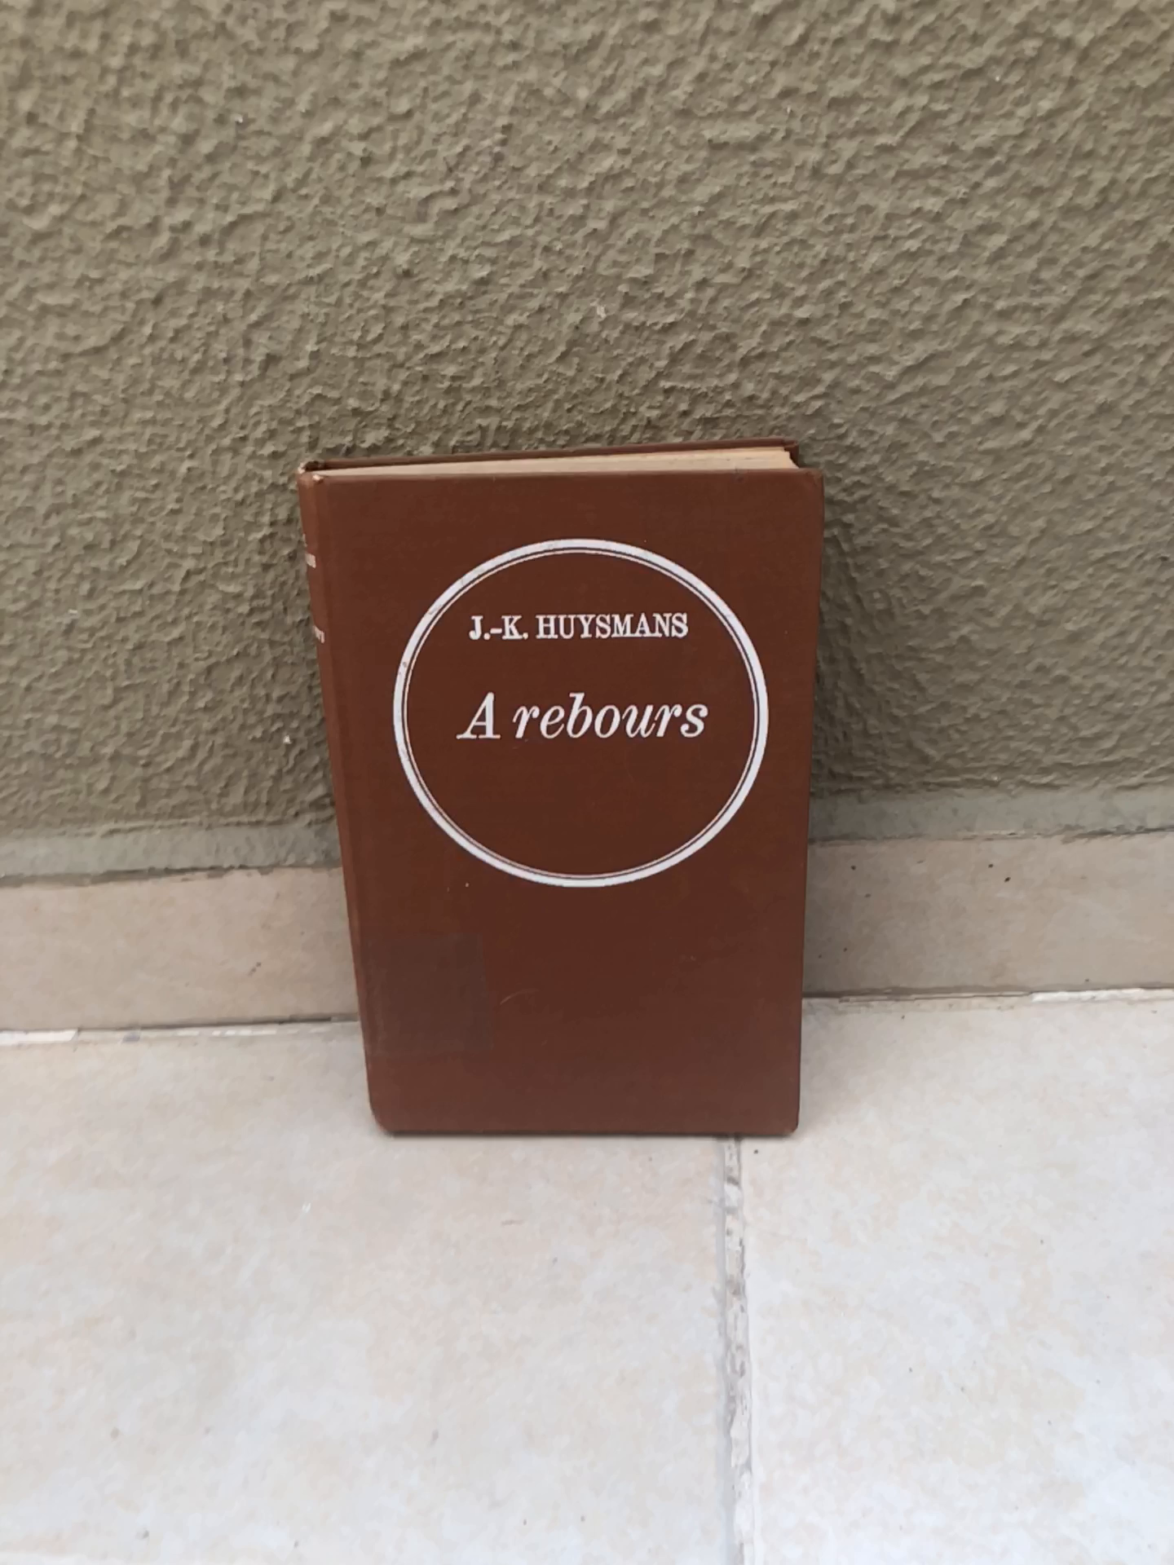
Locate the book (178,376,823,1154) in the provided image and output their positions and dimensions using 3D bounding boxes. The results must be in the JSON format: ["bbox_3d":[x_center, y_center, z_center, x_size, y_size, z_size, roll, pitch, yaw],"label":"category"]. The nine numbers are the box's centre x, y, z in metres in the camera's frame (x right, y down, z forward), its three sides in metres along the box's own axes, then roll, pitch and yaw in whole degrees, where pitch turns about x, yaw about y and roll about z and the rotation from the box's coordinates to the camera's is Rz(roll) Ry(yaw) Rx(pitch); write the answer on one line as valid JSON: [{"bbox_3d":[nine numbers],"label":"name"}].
[{"bbox_3d":[-0.015,0.003,0.356,0.150,0.209,0.040,-1,21,4],"label":"book"}]
